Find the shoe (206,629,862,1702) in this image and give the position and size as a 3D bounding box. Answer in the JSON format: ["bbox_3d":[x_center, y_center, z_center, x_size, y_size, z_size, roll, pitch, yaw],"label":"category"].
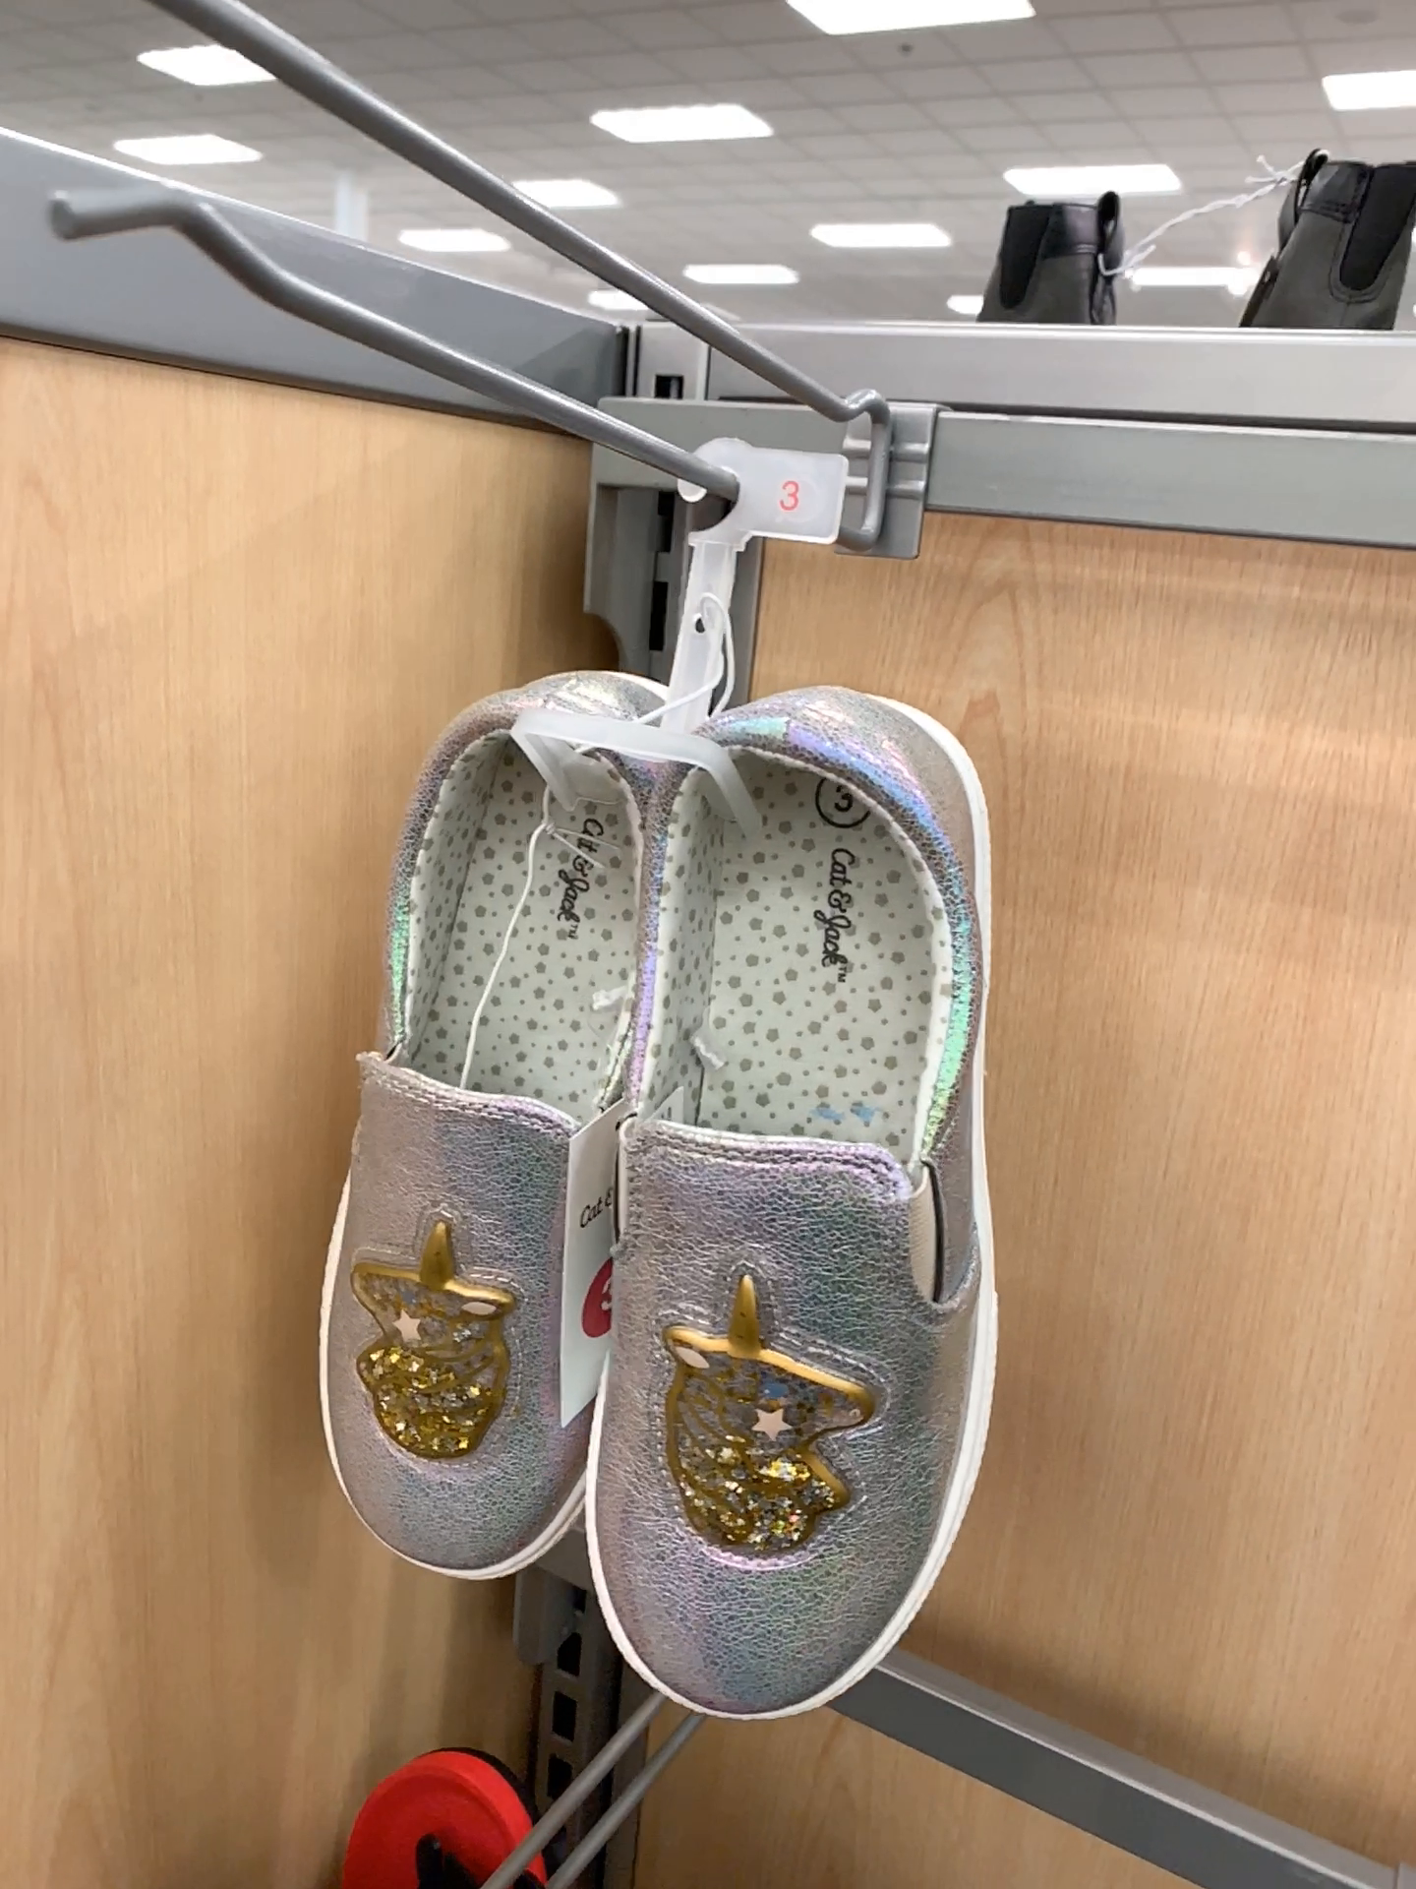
[{"bbox_3d":[-0.042,0.041,0.370,0.100,0.221,0.113,12,12,23],"label":"shoe"}]

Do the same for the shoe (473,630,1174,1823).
[{"bbox_3d":[0.029,0.048,0.338,0.100,0.221,0.113,12,12,23],"label":"shoe"}]
